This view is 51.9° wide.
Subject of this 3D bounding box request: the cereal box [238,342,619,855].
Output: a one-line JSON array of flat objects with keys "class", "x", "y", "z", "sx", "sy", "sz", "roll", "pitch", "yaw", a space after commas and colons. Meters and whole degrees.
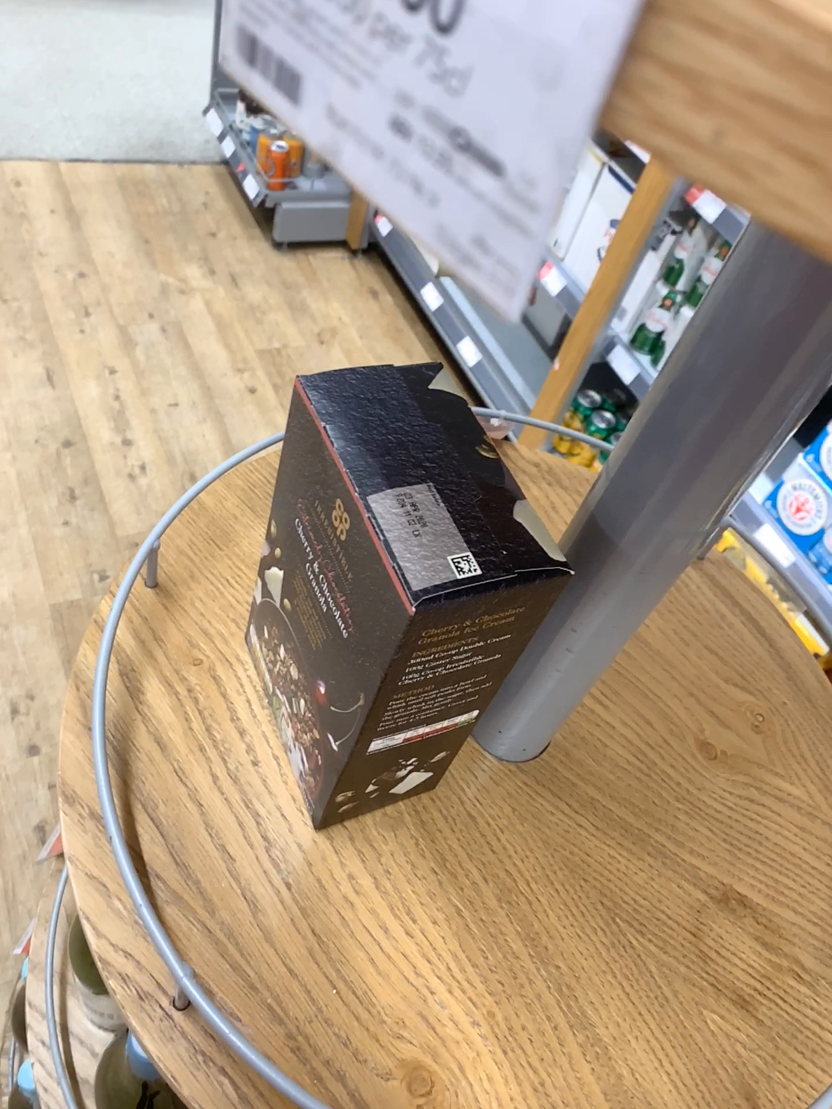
[{"class": "cereal box", "x": -0.016, "y": 0.030, "z": 0.426, "sx": 0.090, "sy": 0.218, "sz": 0.141, "roll": -11, "pitch": 56, "yaw": -25}]
